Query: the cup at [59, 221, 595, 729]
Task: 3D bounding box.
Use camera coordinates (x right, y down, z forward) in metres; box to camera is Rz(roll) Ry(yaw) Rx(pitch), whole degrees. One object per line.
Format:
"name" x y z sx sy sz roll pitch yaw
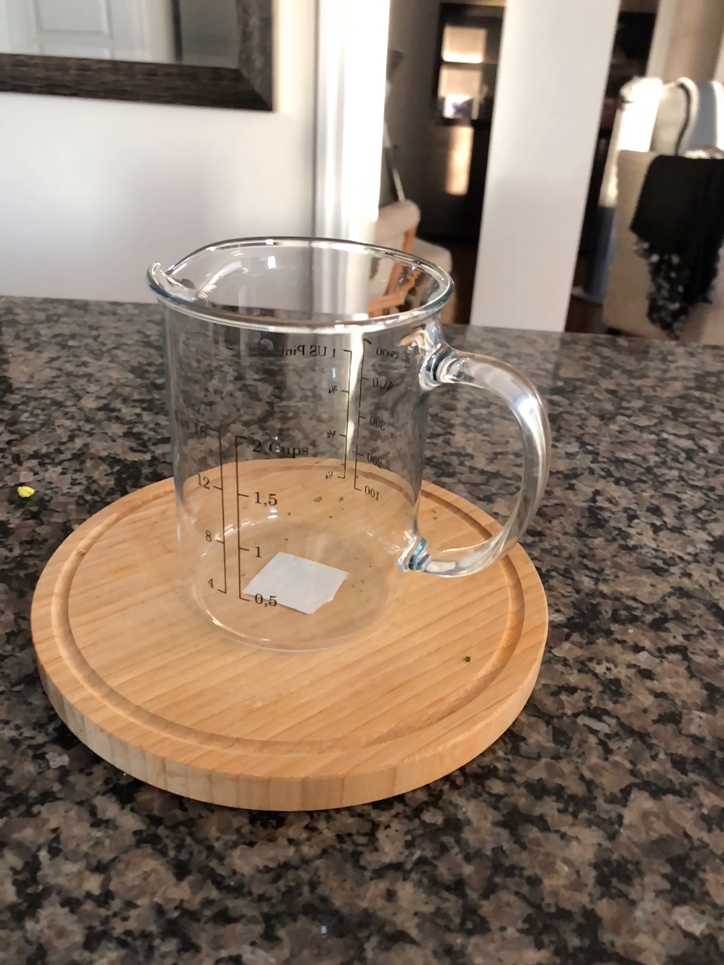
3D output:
"cup" -0.008 -0.014 0.302 0.150 0.128 0.106 13 30 18
